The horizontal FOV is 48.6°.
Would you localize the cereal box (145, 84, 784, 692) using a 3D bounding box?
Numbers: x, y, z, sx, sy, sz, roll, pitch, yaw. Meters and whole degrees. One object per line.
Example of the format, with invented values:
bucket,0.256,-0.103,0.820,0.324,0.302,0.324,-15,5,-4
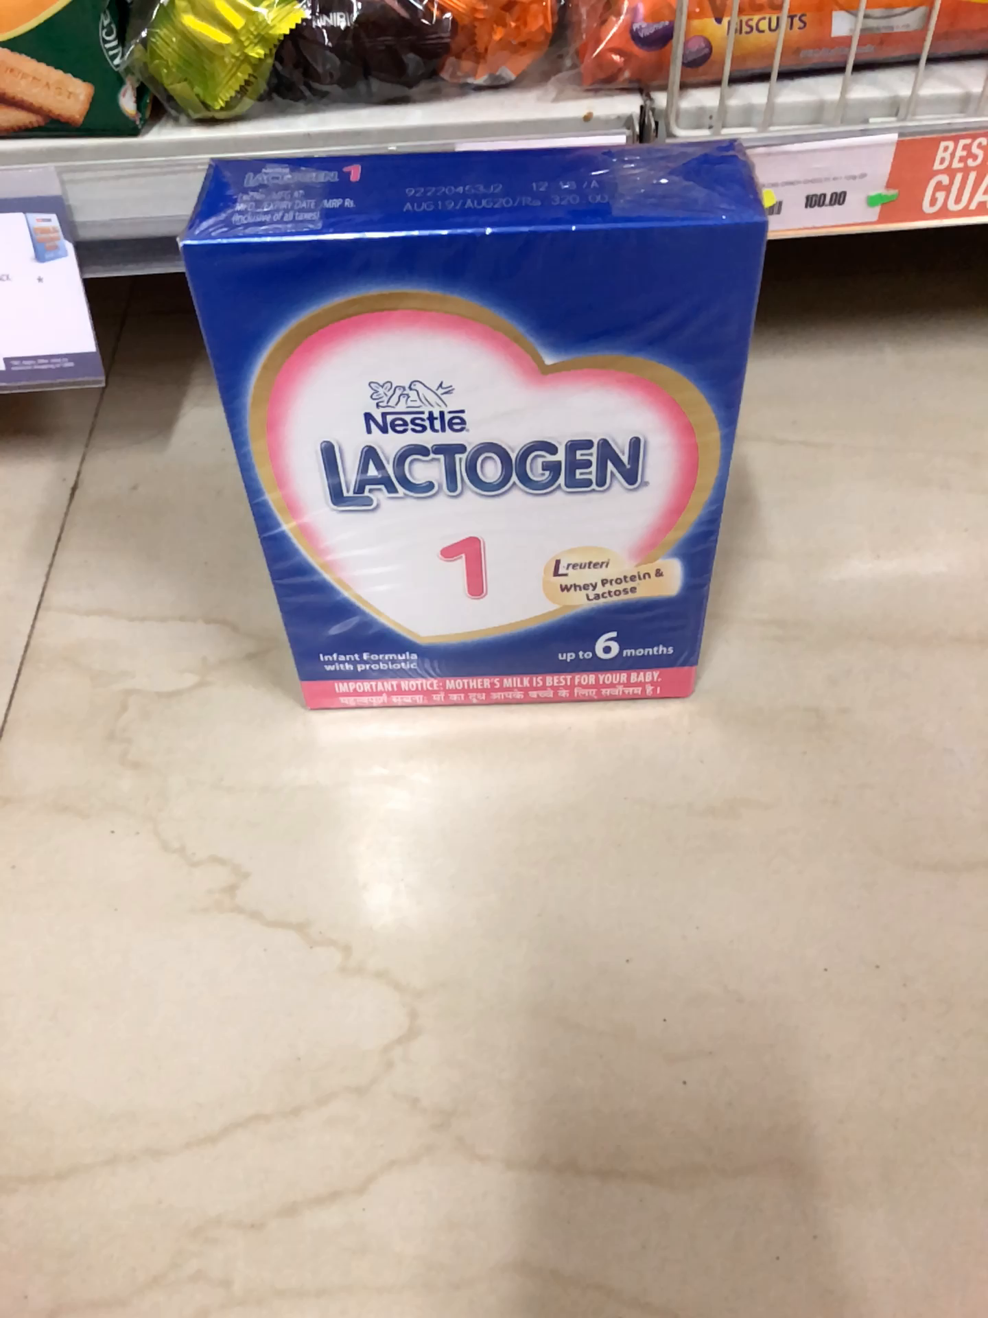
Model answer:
cereal box,-0.005,-0.070,0.345,0.150,0.189,0.050,-2,51,0
